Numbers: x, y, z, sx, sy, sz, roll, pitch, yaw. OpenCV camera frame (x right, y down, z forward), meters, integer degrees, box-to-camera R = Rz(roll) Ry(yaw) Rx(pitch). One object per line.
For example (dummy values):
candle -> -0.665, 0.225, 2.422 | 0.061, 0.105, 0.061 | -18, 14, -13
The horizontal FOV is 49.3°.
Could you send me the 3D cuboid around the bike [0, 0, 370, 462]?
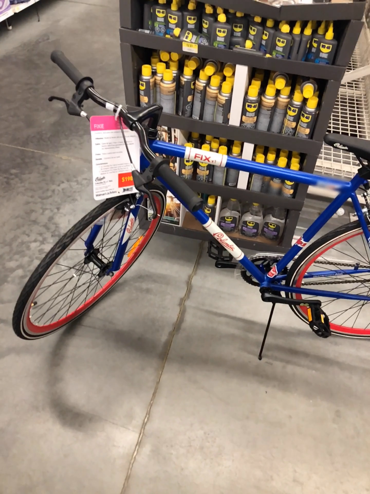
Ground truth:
bike -> 0.280, 0.051, 1.102 | 1.490, 0.937, 0.605 | 1, 47, -9
